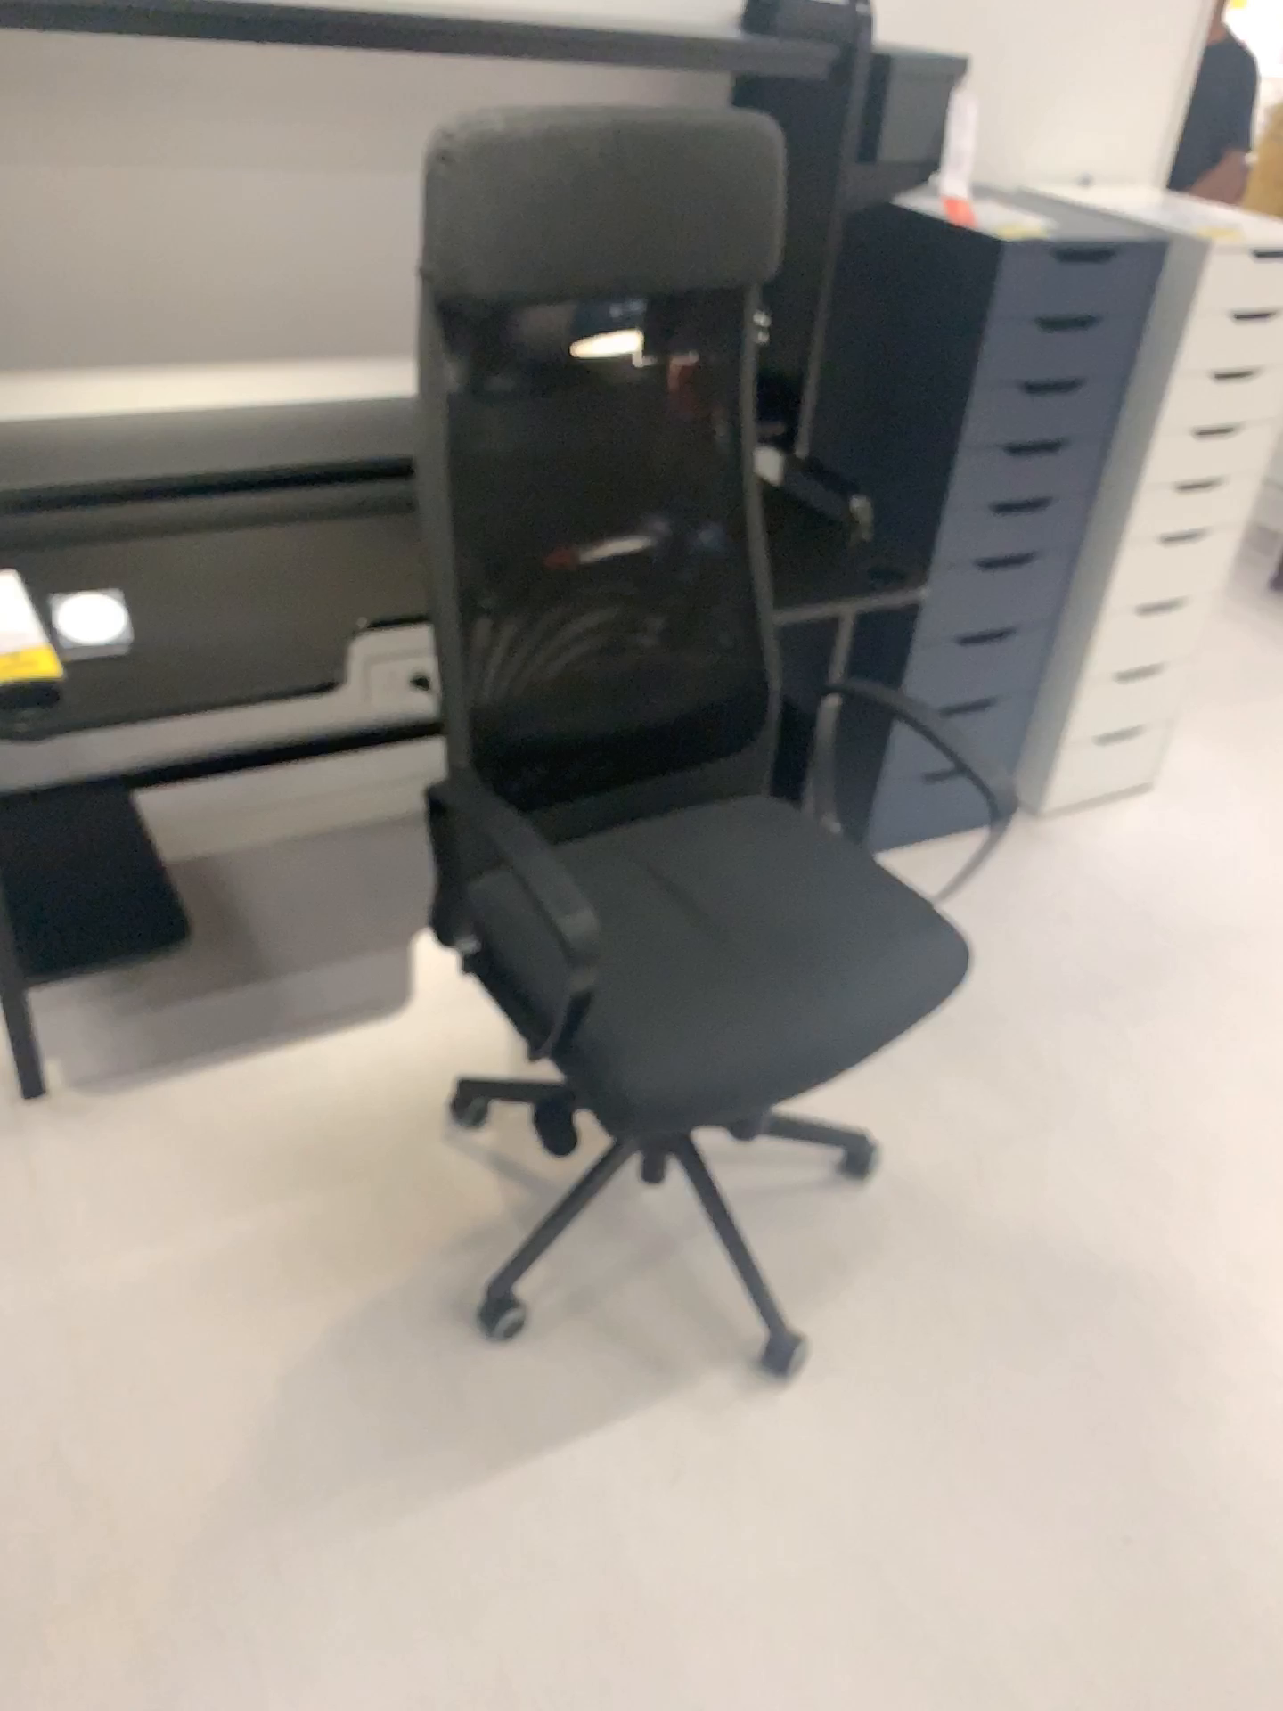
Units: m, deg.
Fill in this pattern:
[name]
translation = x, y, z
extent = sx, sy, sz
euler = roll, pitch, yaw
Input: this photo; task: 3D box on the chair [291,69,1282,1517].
[chair]
translation = 0.093, -0.083, 1.455
extent = 0.641, 1.245, 0.712
euler = -16, 39, -30
